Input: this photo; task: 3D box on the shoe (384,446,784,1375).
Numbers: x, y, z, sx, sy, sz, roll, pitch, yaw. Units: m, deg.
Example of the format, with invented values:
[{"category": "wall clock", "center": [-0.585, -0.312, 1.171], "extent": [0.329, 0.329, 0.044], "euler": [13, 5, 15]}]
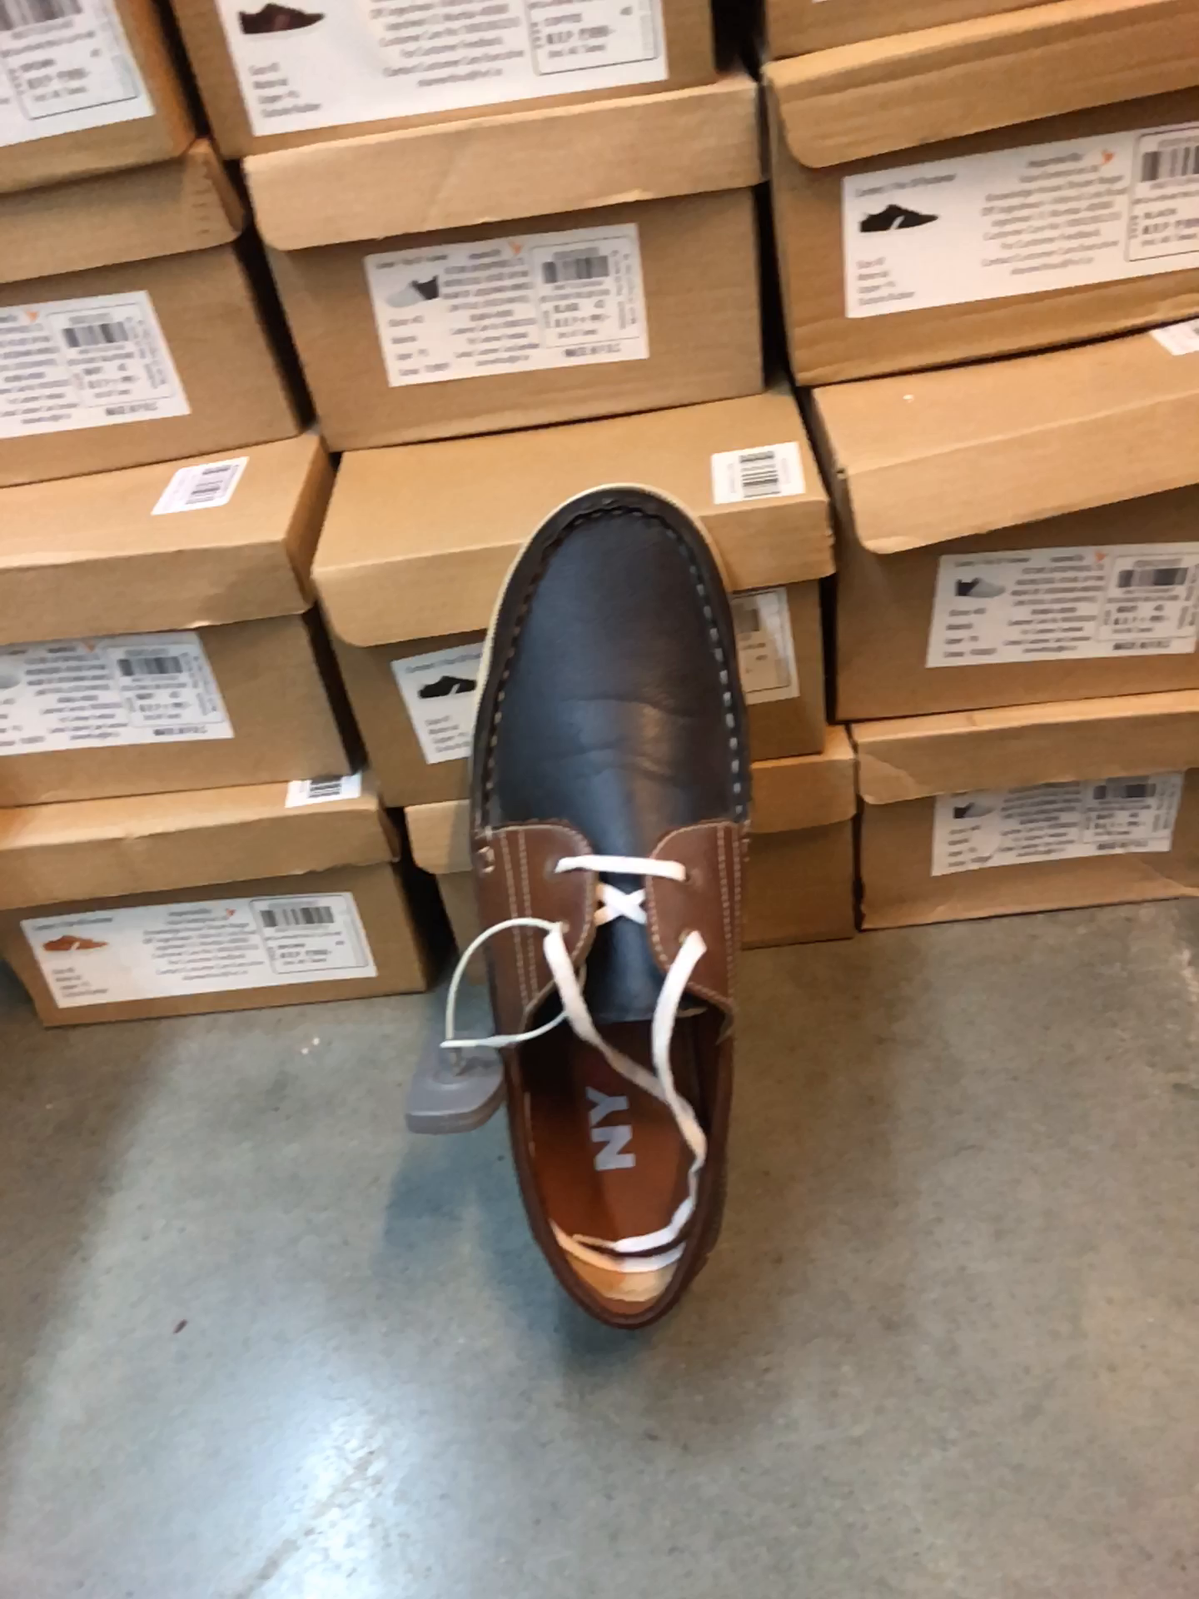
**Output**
[{"category": "shoe", "center": [0.002, 0.032, 0.427], "extent": [0.102, 0.264, 0.099], "euler": [-2, 4, 7]}]
